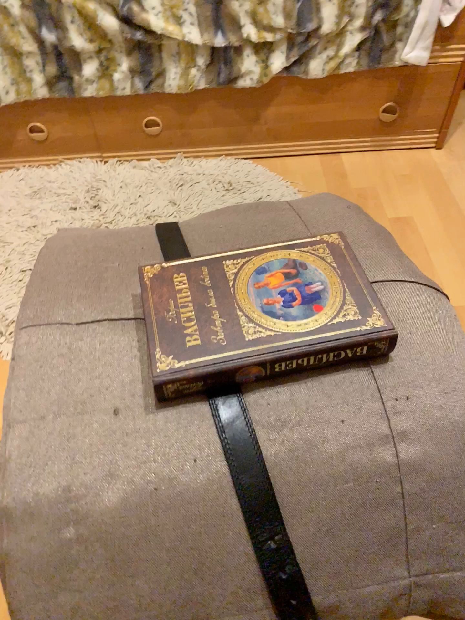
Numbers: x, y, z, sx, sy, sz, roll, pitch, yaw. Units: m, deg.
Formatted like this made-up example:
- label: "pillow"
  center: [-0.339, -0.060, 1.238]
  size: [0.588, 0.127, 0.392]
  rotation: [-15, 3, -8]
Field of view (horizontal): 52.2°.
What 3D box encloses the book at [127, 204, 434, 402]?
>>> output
- label: "book"
  center: [0.031, -0.015, 0.409]
  size: [0.220, 0.050, 0.141]
  rotation: [-9, 51, -11]
